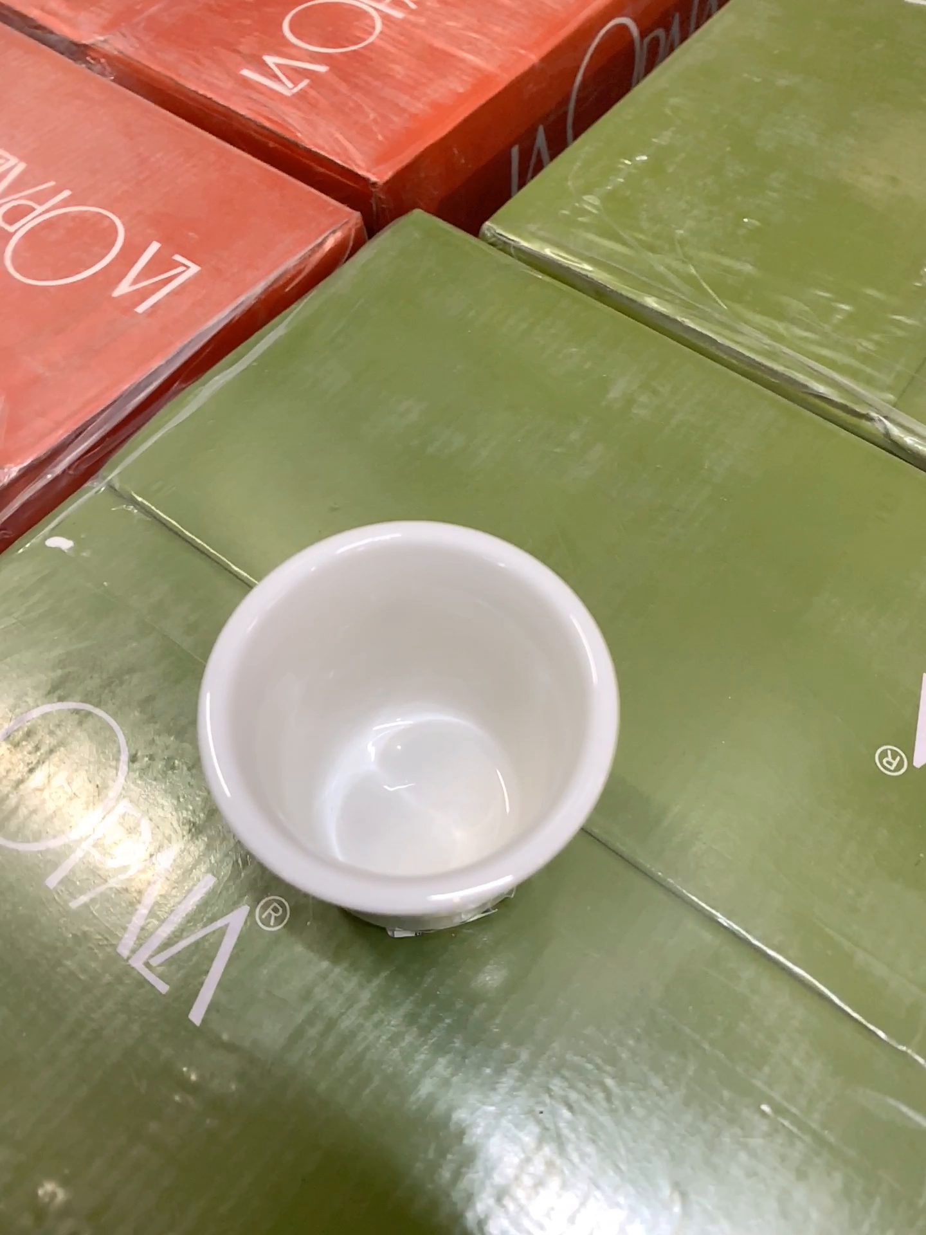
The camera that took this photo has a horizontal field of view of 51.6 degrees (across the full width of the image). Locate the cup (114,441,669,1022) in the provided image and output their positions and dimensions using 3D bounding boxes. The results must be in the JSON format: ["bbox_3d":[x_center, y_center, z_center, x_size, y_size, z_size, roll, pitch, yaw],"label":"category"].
[{"bbox_3d":[-0.014,0.022,0.174,0.070,0.060,0.070,0,59,0],"label":"cup"}]
